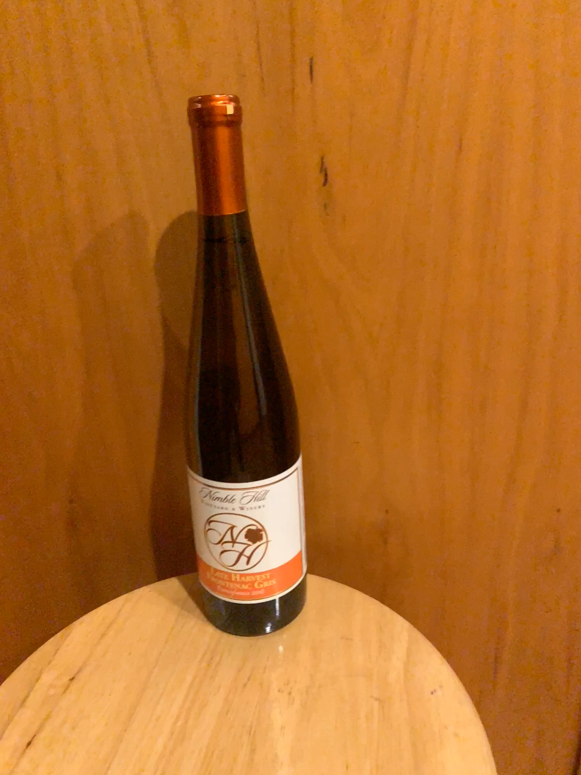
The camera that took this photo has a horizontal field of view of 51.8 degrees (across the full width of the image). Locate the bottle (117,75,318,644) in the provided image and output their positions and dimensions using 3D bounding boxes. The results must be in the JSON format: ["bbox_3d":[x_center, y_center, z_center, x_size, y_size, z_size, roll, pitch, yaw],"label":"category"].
[{"bbox_3d":[-0.030,0.001,0.361,0.080,0.329,0.060,1,21,8],"label":"bottle"}]
